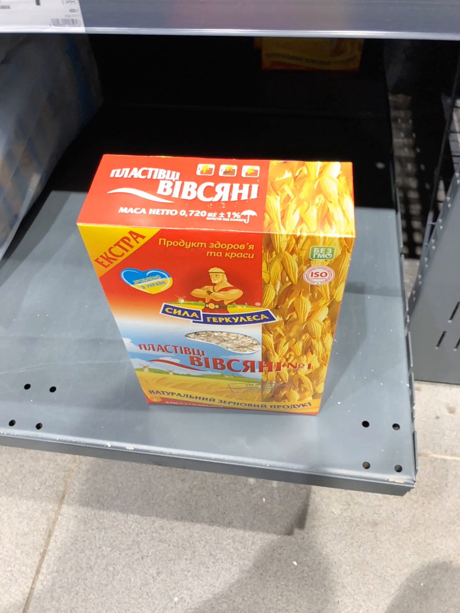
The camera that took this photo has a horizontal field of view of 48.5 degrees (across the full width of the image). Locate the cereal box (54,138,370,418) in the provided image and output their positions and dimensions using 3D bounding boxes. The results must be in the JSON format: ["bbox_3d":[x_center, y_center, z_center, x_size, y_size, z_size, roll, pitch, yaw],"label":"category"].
[{"bbox_3d":[-0.003,-0.006,0.360,0.160,0.208,0.071,3,52,6],"label":"cereal box"}]
